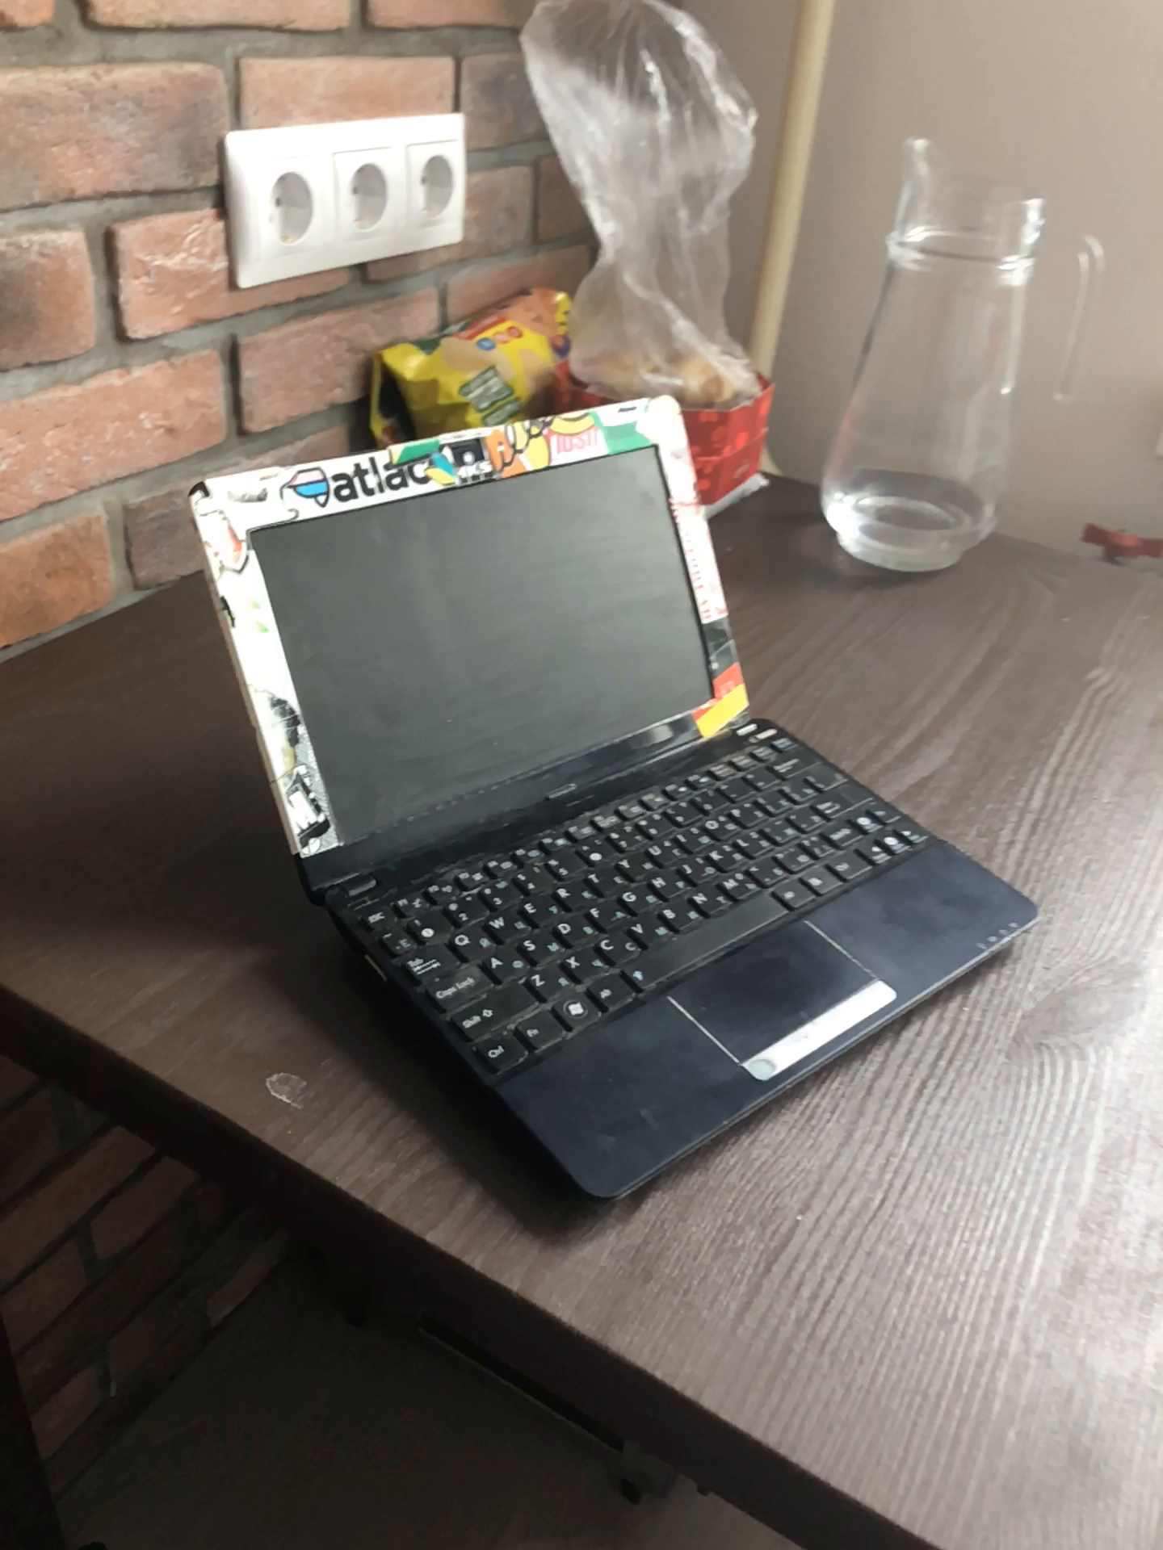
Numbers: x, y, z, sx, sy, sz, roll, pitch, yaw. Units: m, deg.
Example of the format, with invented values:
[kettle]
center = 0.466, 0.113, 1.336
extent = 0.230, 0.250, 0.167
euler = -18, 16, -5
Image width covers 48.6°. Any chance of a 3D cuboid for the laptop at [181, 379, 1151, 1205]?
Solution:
[laptop]
center = 0.024, -0.031, 0.518
extent = 0.257, 0.140, 0.268
euler = -21, 43, -35
